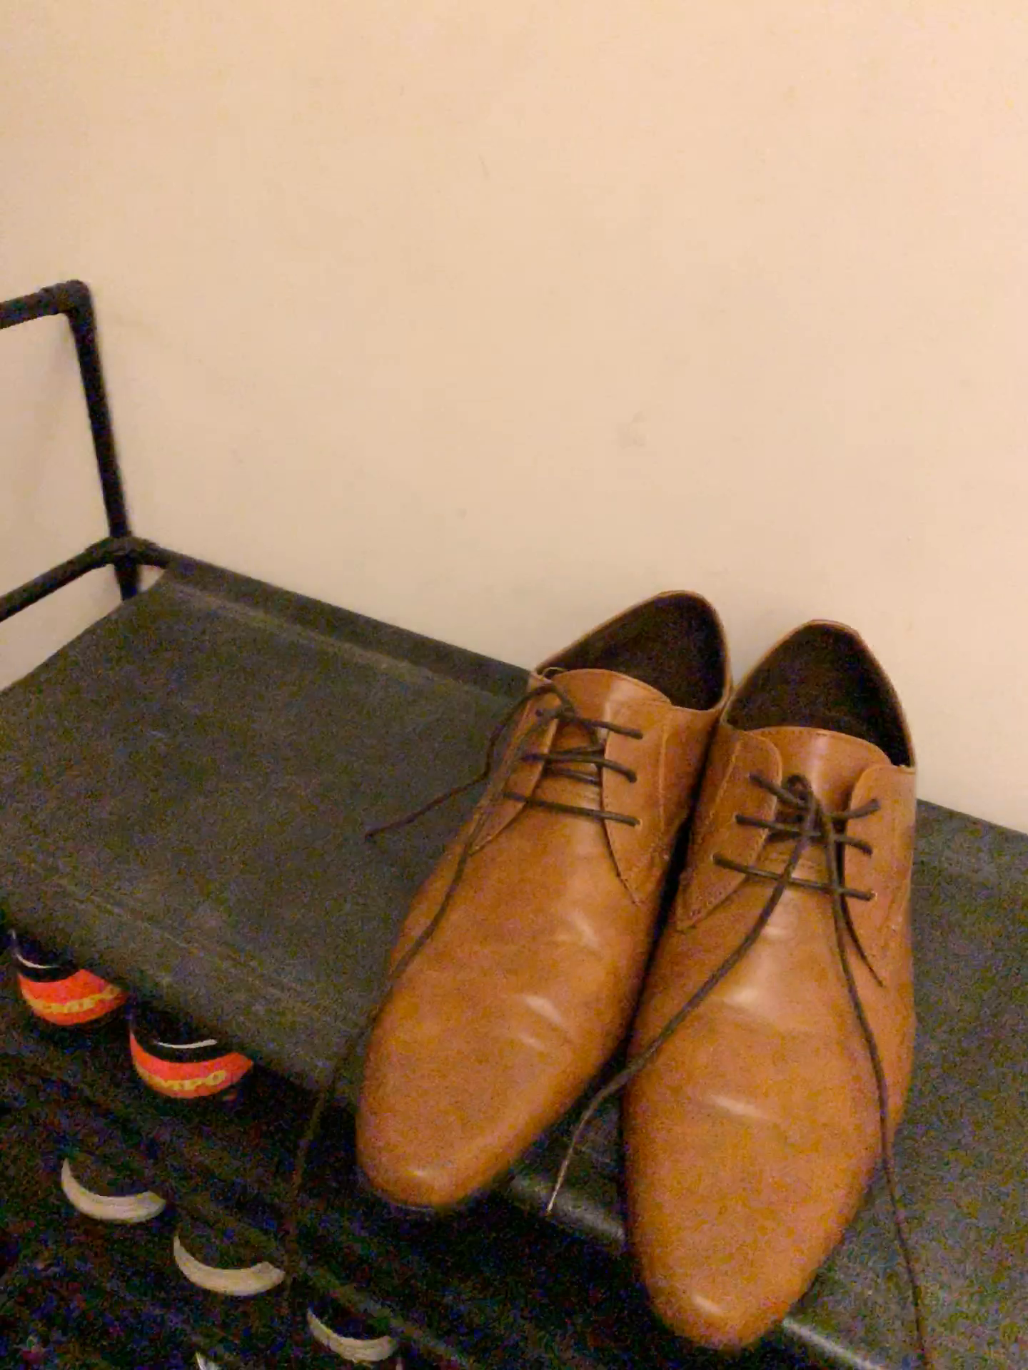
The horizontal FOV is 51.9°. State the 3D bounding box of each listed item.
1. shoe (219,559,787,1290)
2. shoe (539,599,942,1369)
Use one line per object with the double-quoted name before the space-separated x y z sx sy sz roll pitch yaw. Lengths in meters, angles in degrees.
"shoe" 0.020 0.065 0.444 0.100 0.099 0.302 17 37 20
"shoe" 0.103 0.089 0.423 0.100 0.099 0.303 12 36 13
